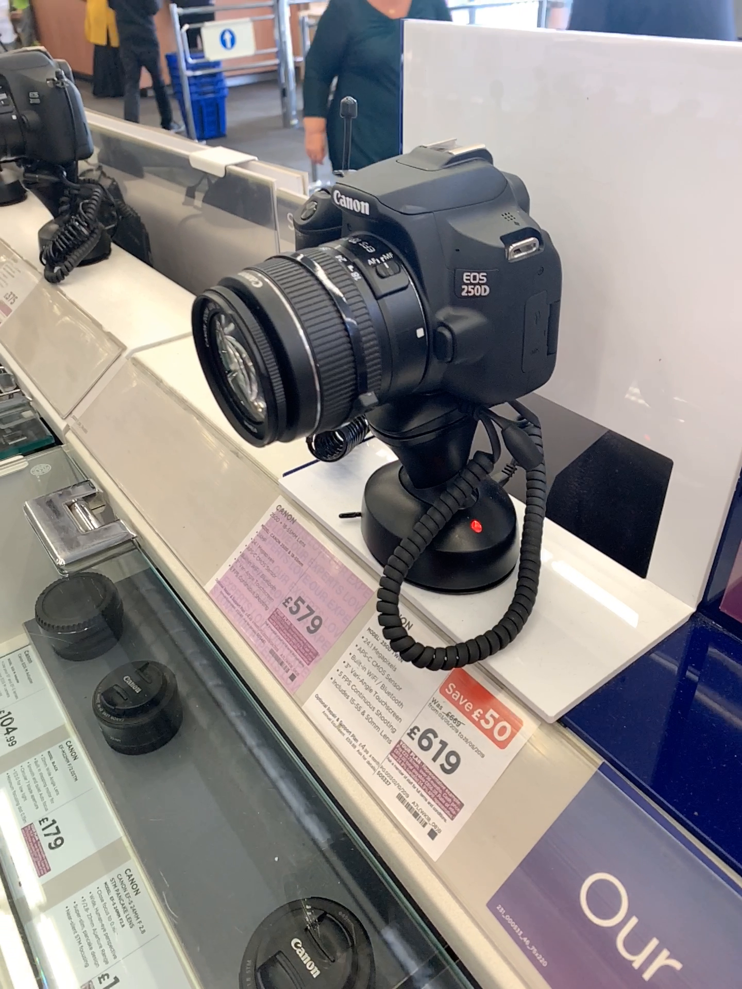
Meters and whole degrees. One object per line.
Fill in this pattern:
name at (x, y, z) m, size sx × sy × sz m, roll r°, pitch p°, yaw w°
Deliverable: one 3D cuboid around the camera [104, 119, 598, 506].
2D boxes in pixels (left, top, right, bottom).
camera at (-0.008, -0.086, 0.310) m, size 0.140 × 0.089 × 0.121 m, roll -26°, pitch 41°, yaw -29°
